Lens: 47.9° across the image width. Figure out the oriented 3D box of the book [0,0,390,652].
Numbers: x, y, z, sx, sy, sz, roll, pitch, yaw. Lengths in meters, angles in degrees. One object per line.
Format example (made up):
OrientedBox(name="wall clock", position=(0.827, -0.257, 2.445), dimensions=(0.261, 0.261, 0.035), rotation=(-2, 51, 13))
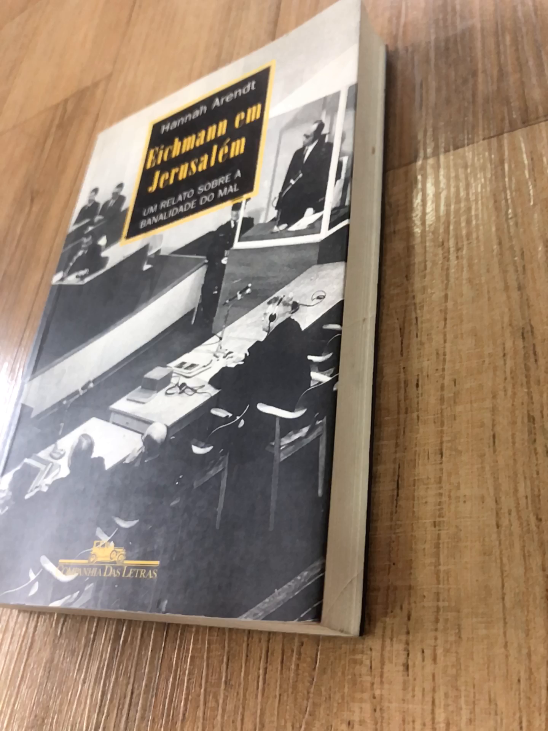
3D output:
OrientedBox(name="book", position=(-0.034, -0.019, 0.213), dimensions=(0.140, 0.030, 0.200), rotation=(-10, 60, 31))
